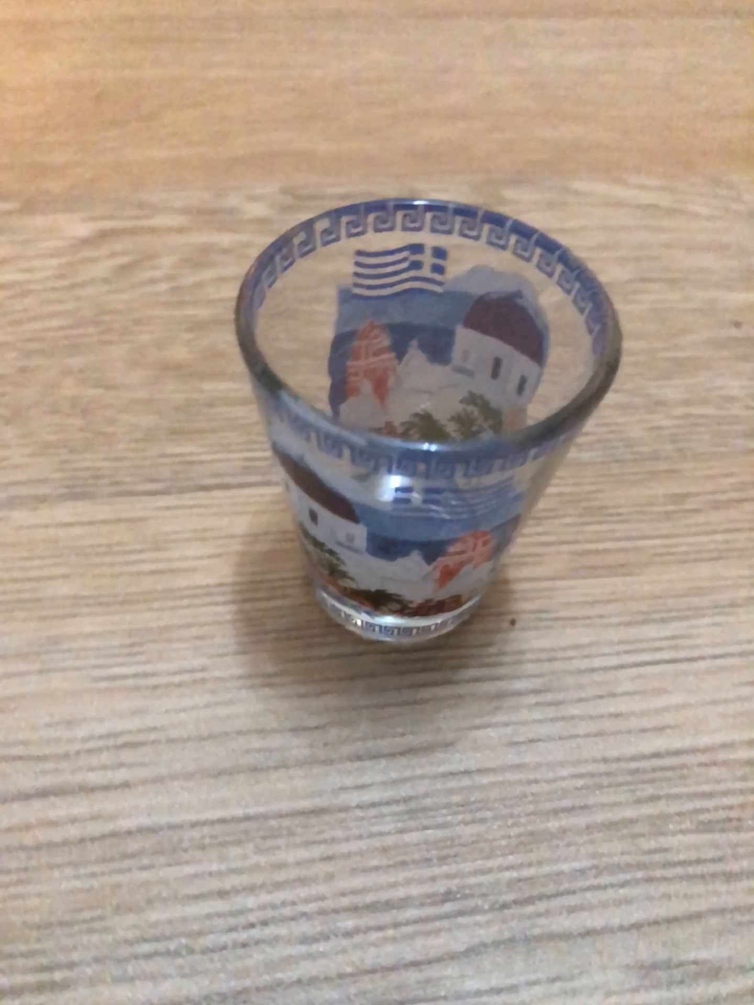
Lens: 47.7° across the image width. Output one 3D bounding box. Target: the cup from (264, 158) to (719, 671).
[{"bbox_3d":[0.010,-0.012,0.133,0.050,0.060,0.050,2,52,-2],"label":"cup"}]
